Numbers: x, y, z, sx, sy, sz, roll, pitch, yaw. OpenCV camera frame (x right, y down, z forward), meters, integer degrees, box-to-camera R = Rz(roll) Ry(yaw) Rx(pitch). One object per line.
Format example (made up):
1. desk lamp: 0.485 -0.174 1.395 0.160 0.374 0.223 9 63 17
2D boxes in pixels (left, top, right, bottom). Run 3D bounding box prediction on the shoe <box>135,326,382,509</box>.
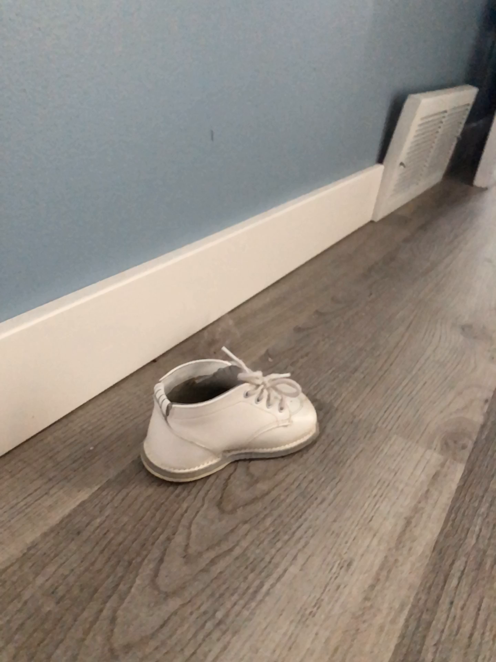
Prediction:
1. shoe: 0.007 0.050 0.367 0.150 0.060 0.060 -12 36 -30
